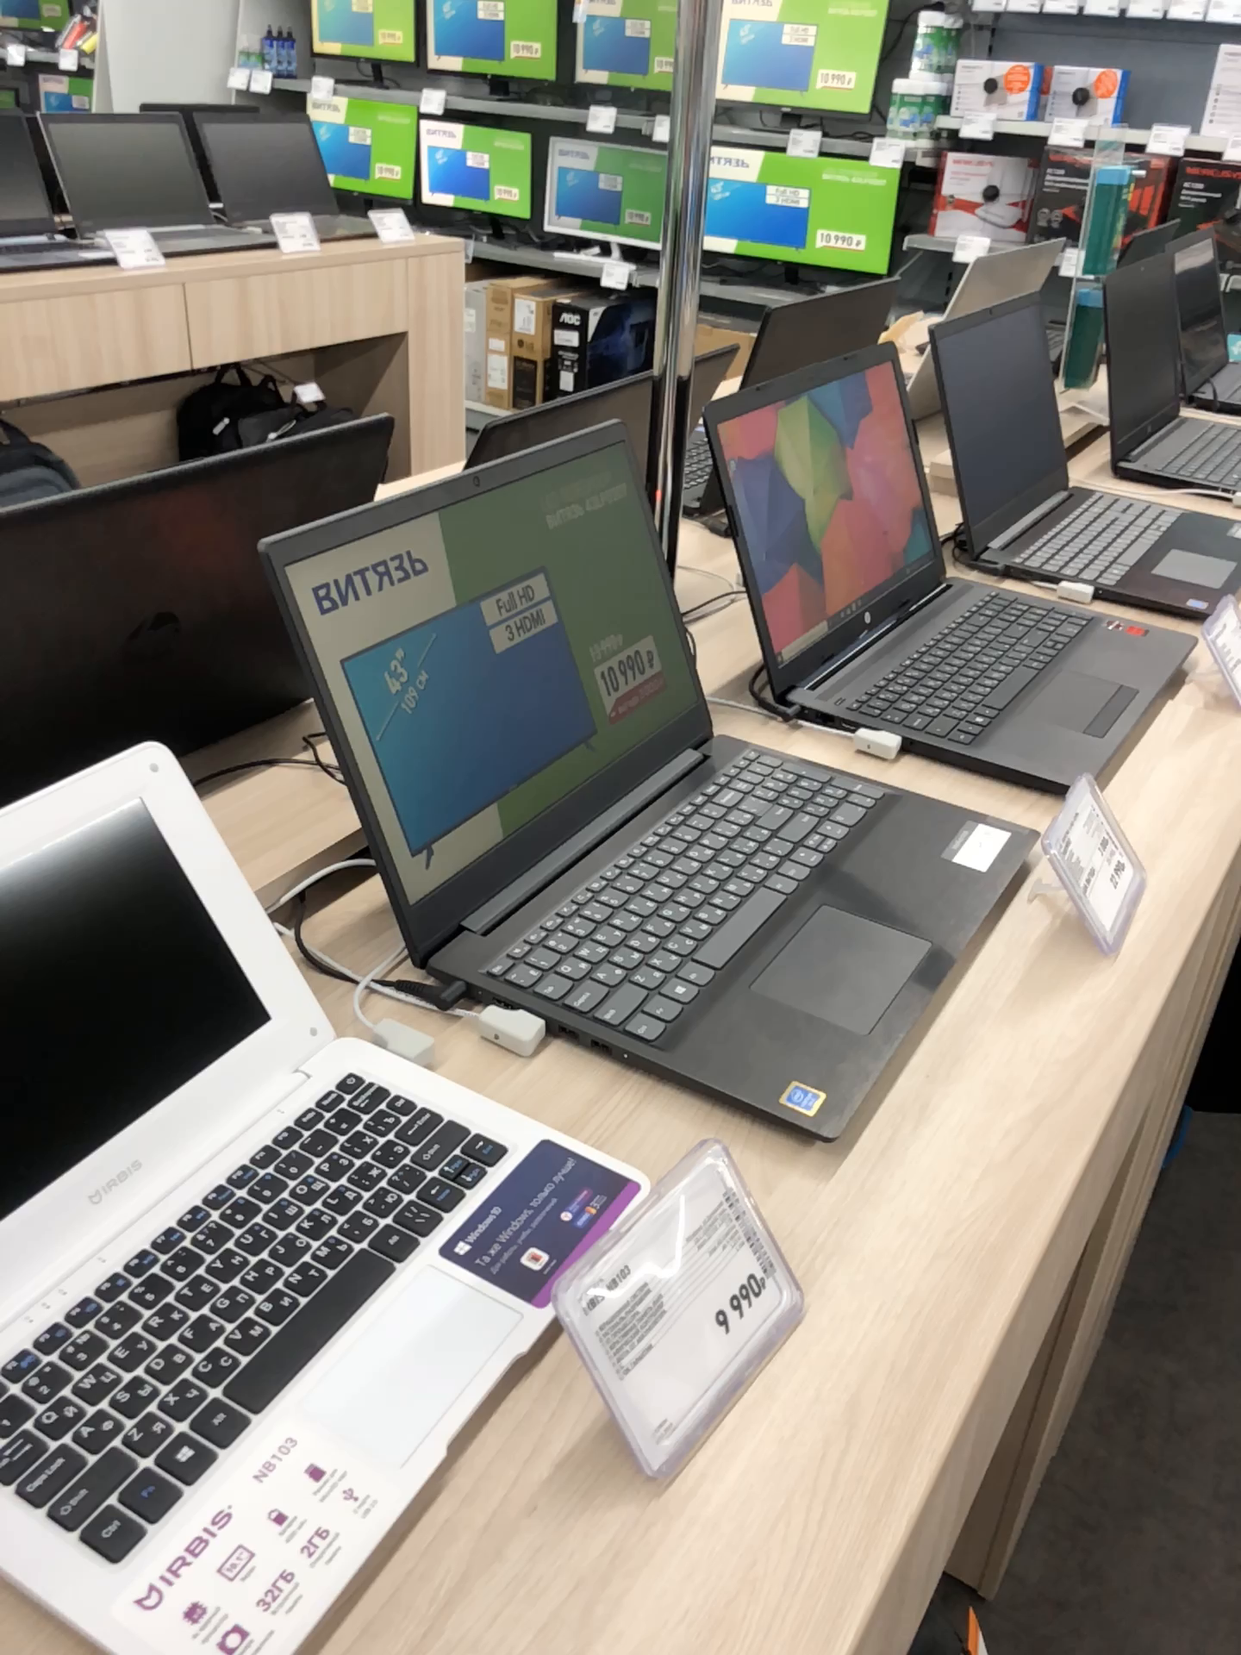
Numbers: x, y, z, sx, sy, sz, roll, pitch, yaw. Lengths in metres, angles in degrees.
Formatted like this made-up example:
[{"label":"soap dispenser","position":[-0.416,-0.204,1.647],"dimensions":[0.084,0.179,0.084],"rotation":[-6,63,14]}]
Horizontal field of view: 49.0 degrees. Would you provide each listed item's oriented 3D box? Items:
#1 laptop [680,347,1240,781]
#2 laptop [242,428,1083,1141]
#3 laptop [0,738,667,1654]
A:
[{"label":"laptop","position":[0.291,-0.246,1.139],"dimensions":[0.321,0.206,0.376],"rotation":[20,33,26]},{"label":"laptop","position":[0.038,-0.067,0.797],"dimensions":[0.340,0.212,0.356],"rotation":[19,31,24]},{"label":"laptop","position":[-0.179,0.116,0.524],"dimensions":[0.289,0.139,0.280],"rotation":[18,32,23]}]
